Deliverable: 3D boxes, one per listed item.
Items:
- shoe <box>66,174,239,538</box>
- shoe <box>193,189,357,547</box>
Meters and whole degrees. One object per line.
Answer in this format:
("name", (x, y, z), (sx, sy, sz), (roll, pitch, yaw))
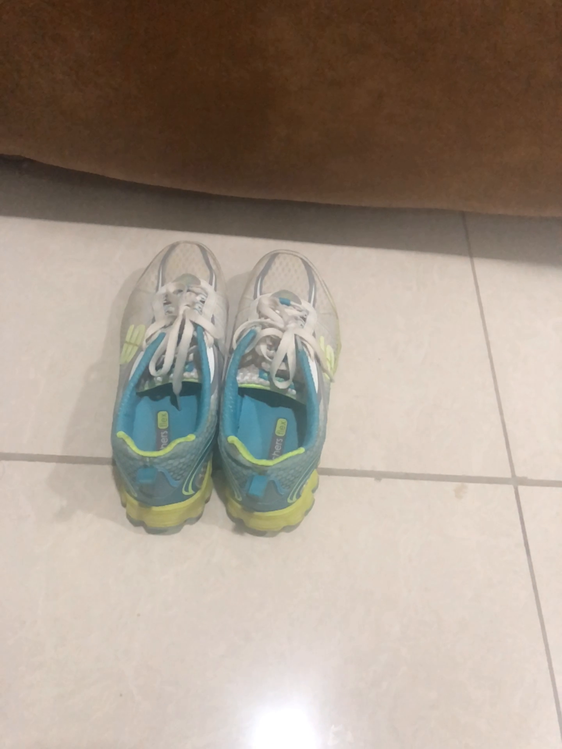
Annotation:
("shoe", (-0.093, -0.026, 0.530), (0.100, 0.100, 0.300), (3, 58, -4))
("shoe", (0.002, -0.016, 0.550), (0.110, 0.100, 0.300), (6, 58, -1))
